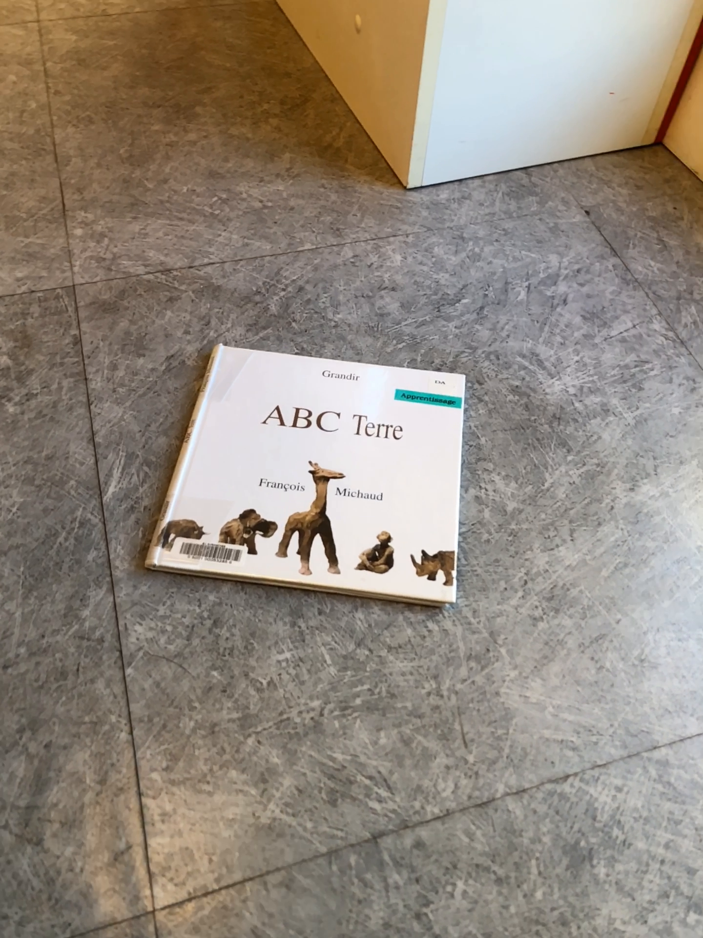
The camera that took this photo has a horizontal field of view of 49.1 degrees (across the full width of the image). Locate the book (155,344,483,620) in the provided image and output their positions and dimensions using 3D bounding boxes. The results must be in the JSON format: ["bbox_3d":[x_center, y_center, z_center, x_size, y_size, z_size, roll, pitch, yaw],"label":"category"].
[{"bbox_3d":[-0.011,0.000,0.538,0.200,0.020,0.195,7,53,1],"label":"book"}]
